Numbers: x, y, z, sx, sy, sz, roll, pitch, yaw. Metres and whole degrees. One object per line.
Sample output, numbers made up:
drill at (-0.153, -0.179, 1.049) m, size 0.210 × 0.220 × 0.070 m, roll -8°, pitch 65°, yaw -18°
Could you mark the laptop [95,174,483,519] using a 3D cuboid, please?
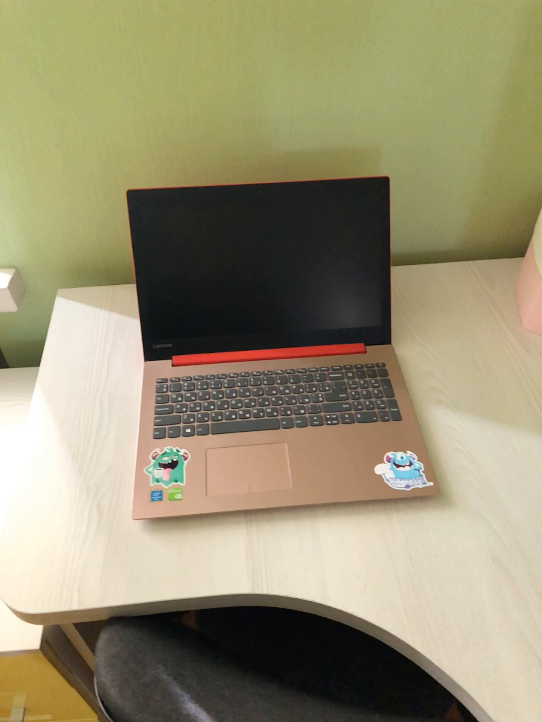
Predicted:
laptop at (0.001, -0.041, 0.780) m, size 0.375 × 0.198 × 0.403 m, roll -4°, pitch 47°, yaw -4°
